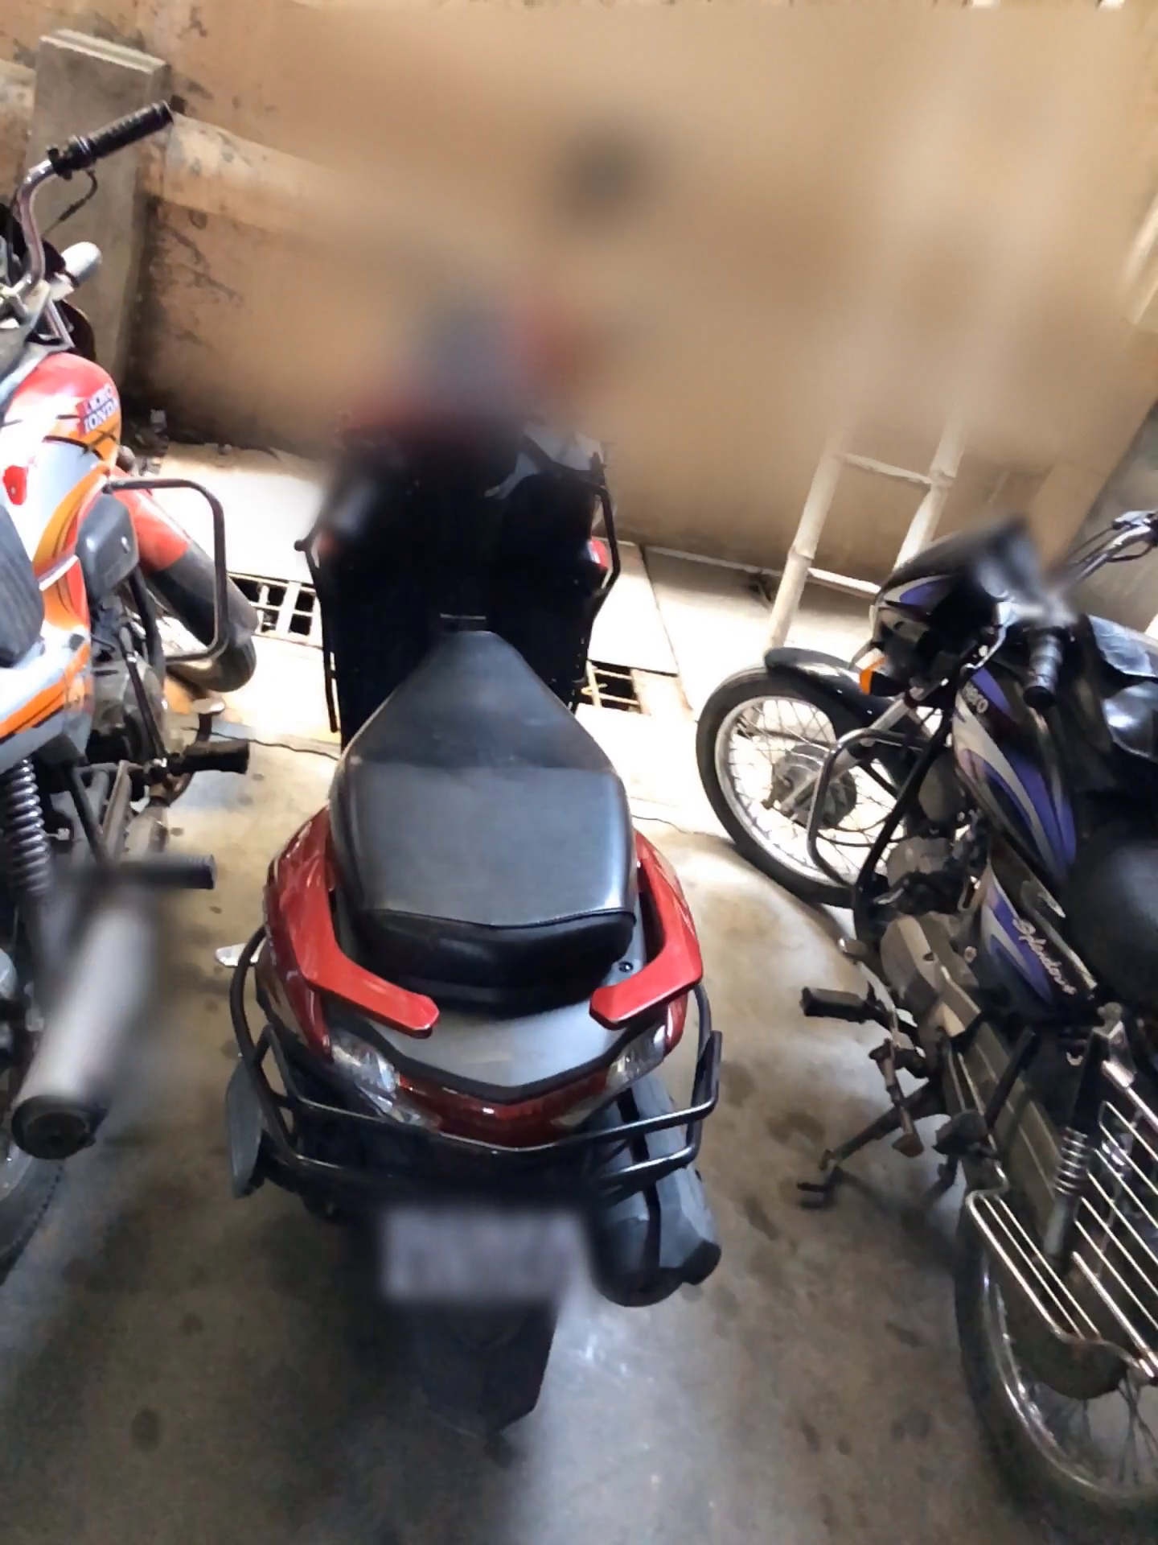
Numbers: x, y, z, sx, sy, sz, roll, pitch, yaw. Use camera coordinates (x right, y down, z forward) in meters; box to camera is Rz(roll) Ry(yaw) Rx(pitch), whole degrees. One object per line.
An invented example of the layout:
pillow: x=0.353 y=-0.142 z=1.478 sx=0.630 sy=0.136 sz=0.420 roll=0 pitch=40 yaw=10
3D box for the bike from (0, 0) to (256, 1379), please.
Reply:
bike: x=-0.983 y=-0.297 z=1.698 sx=0.839 sy=1.089 sz=1.656 roll=11 pitch=32 yaw=-19

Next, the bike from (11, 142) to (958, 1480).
bike: x=-0.284 y=-0.037 z=1.808 sx=0.631 sy=1.140 sz=1.444 roll=11 pitch=34 yaw=-19
